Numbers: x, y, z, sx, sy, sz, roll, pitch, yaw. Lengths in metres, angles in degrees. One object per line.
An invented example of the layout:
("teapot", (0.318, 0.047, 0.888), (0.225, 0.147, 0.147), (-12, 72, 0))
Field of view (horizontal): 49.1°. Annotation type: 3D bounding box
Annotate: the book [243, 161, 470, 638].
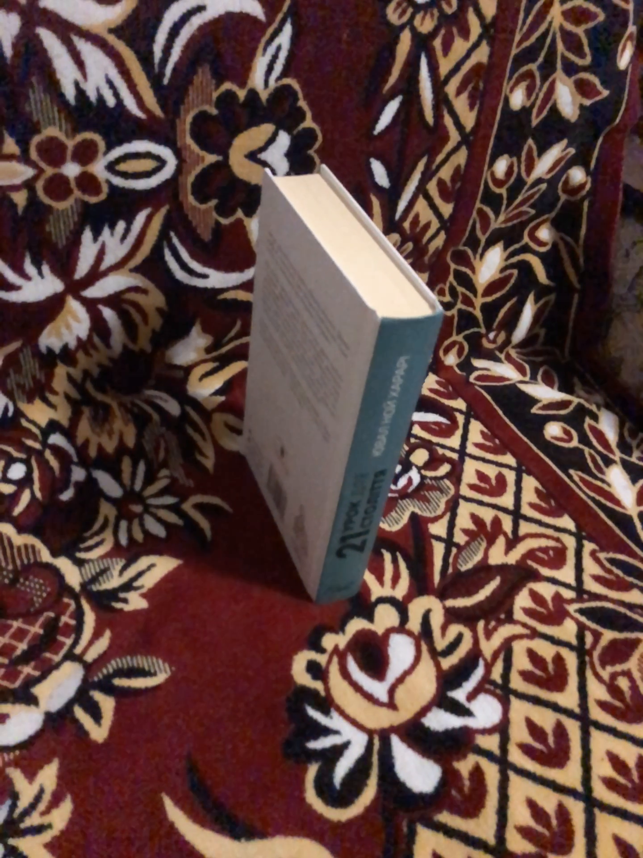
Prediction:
("book", (0.001, -0.012, 0.390), (0.040, 0.211, 0.154), (-10, 45, -19))
